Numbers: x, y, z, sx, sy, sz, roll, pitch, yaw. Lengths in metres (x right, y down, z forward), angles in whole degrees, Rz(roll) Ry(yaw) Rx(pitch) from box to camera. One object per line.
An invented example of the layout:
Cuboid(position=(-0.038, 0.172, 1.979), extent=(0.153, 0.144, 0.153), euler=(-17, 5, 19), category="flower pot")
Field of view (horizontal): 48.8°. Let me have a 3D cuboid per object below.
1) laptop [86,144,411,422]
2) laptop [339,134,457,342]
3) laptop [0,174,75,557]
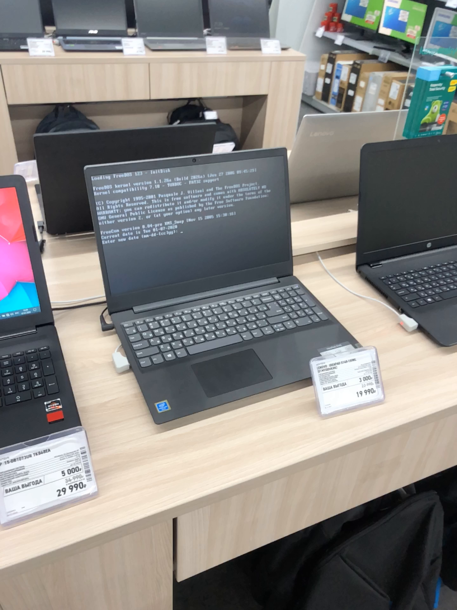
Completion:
Cuboid(position=(0.003, -0.064, 0.755), extent=(0.340, 0.210, 0.323), euler=(-13, 41, -21), category="laptop")
Cuboid(position=(0.450, -0.141, 0.899), extent=(0.337, 0.208, 0.298), euler=(-12, 41, -22), category="laptop")
Cuboid(position=(-0.397, 0.024, 0.591), extent=(0.351, 0.202, 0.321), euler=(-12, 40, -21), category="laptop")
